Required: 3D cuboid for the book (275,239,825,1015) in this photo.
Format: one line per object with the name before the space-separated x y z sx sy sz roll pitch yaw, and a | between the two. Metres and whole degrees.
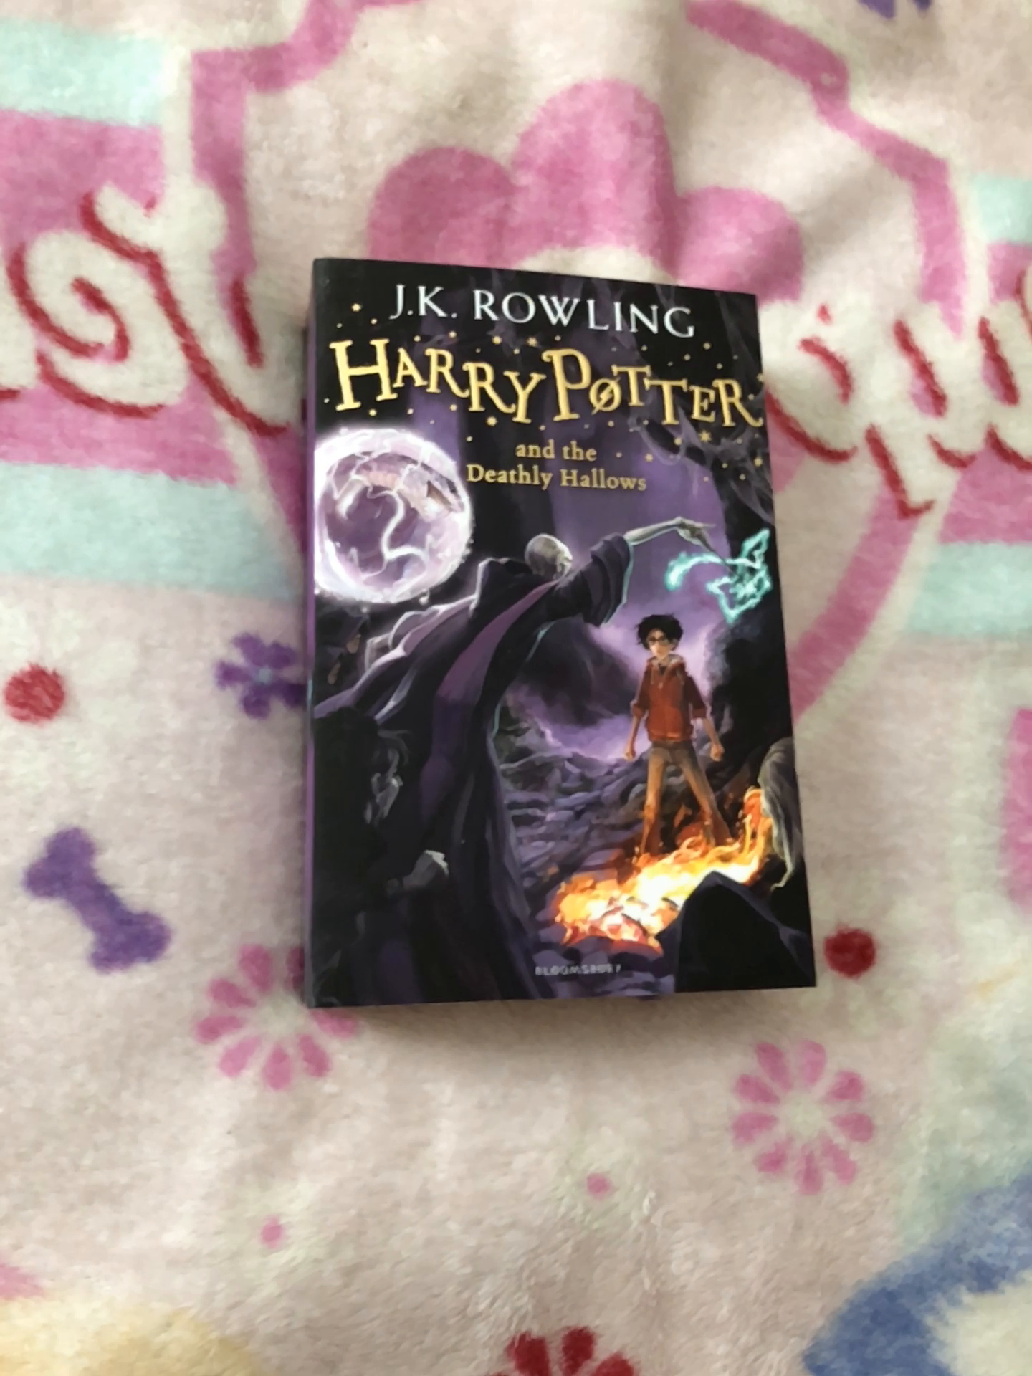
book | 0.002 -0.014 0.308 0.126 0.060 0.187 0 77 -10
